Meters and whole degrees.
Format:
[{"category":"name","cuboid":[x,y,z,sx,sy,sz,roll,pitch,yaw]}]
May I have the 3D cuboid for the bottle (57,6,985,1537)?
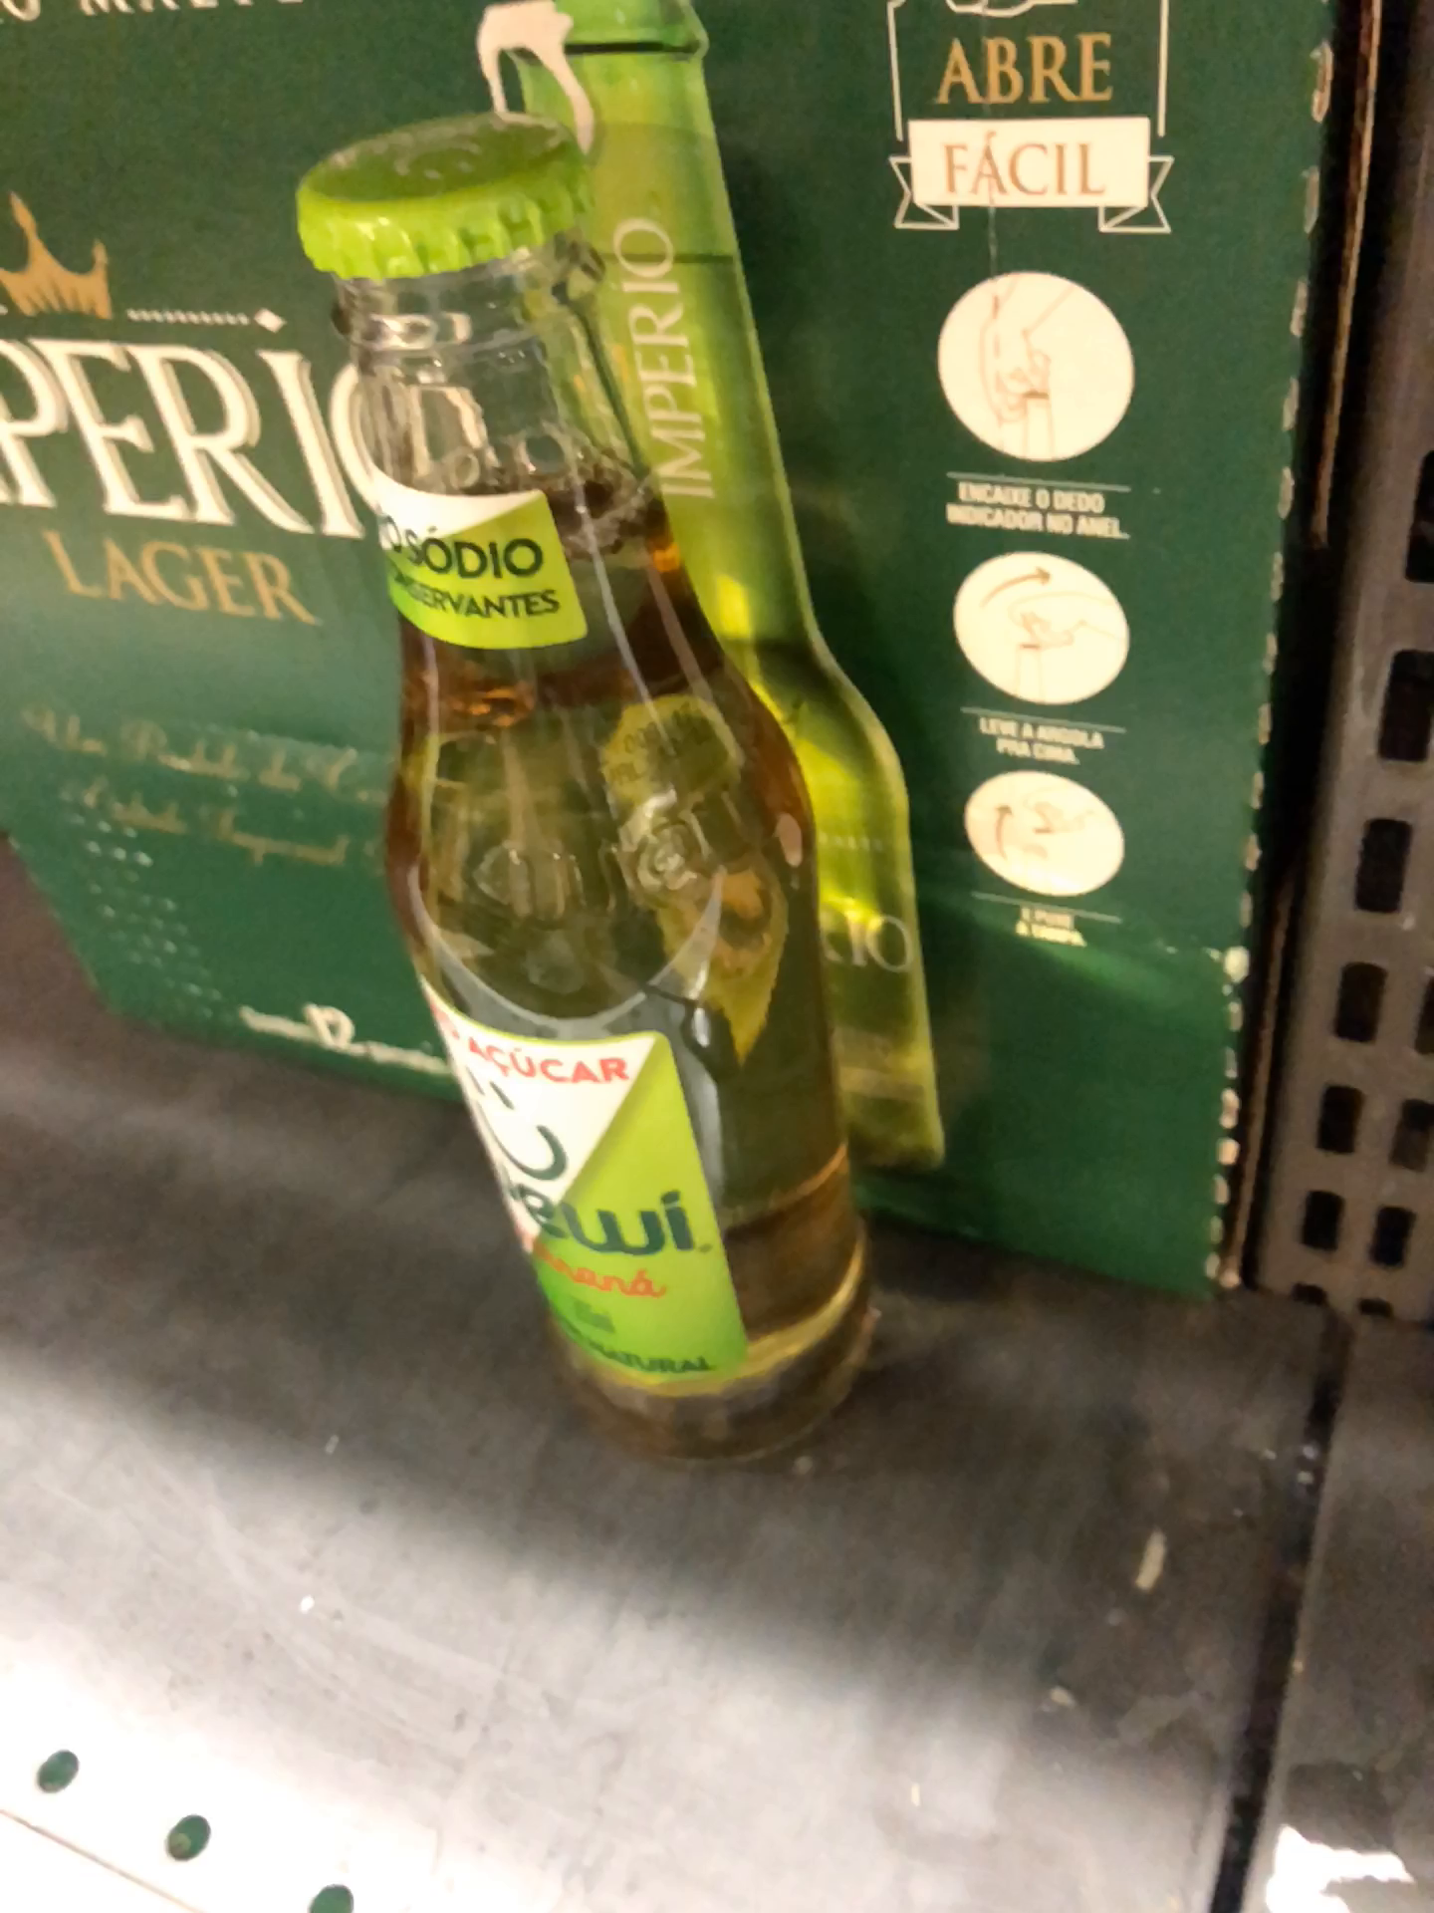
[{"category":"bottle","cuboid":[-0.007,-0.006,0.214,0.060,0.198,0.050,23,53,31]}]
